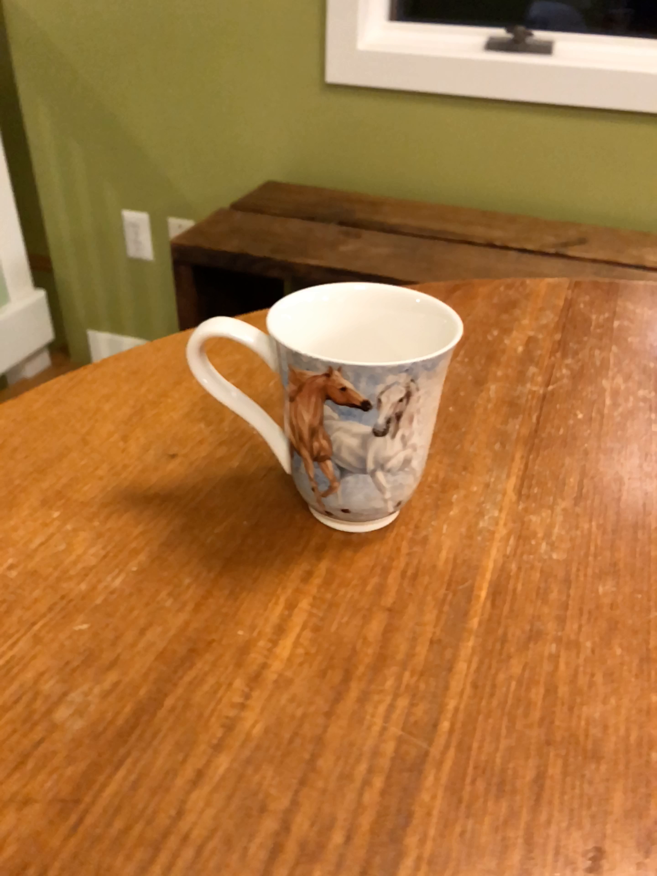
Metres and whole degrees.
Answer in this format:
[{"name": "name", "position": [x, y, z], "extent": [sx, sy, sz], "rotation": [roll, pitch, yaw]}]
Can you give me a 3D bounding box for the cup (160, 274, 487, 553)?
[{"name": "cup", "position": [0.000, -0.014, 0.356], "extent": [0.132, 0.098, 0.083], "rotation": [4, 34, 3]}]
